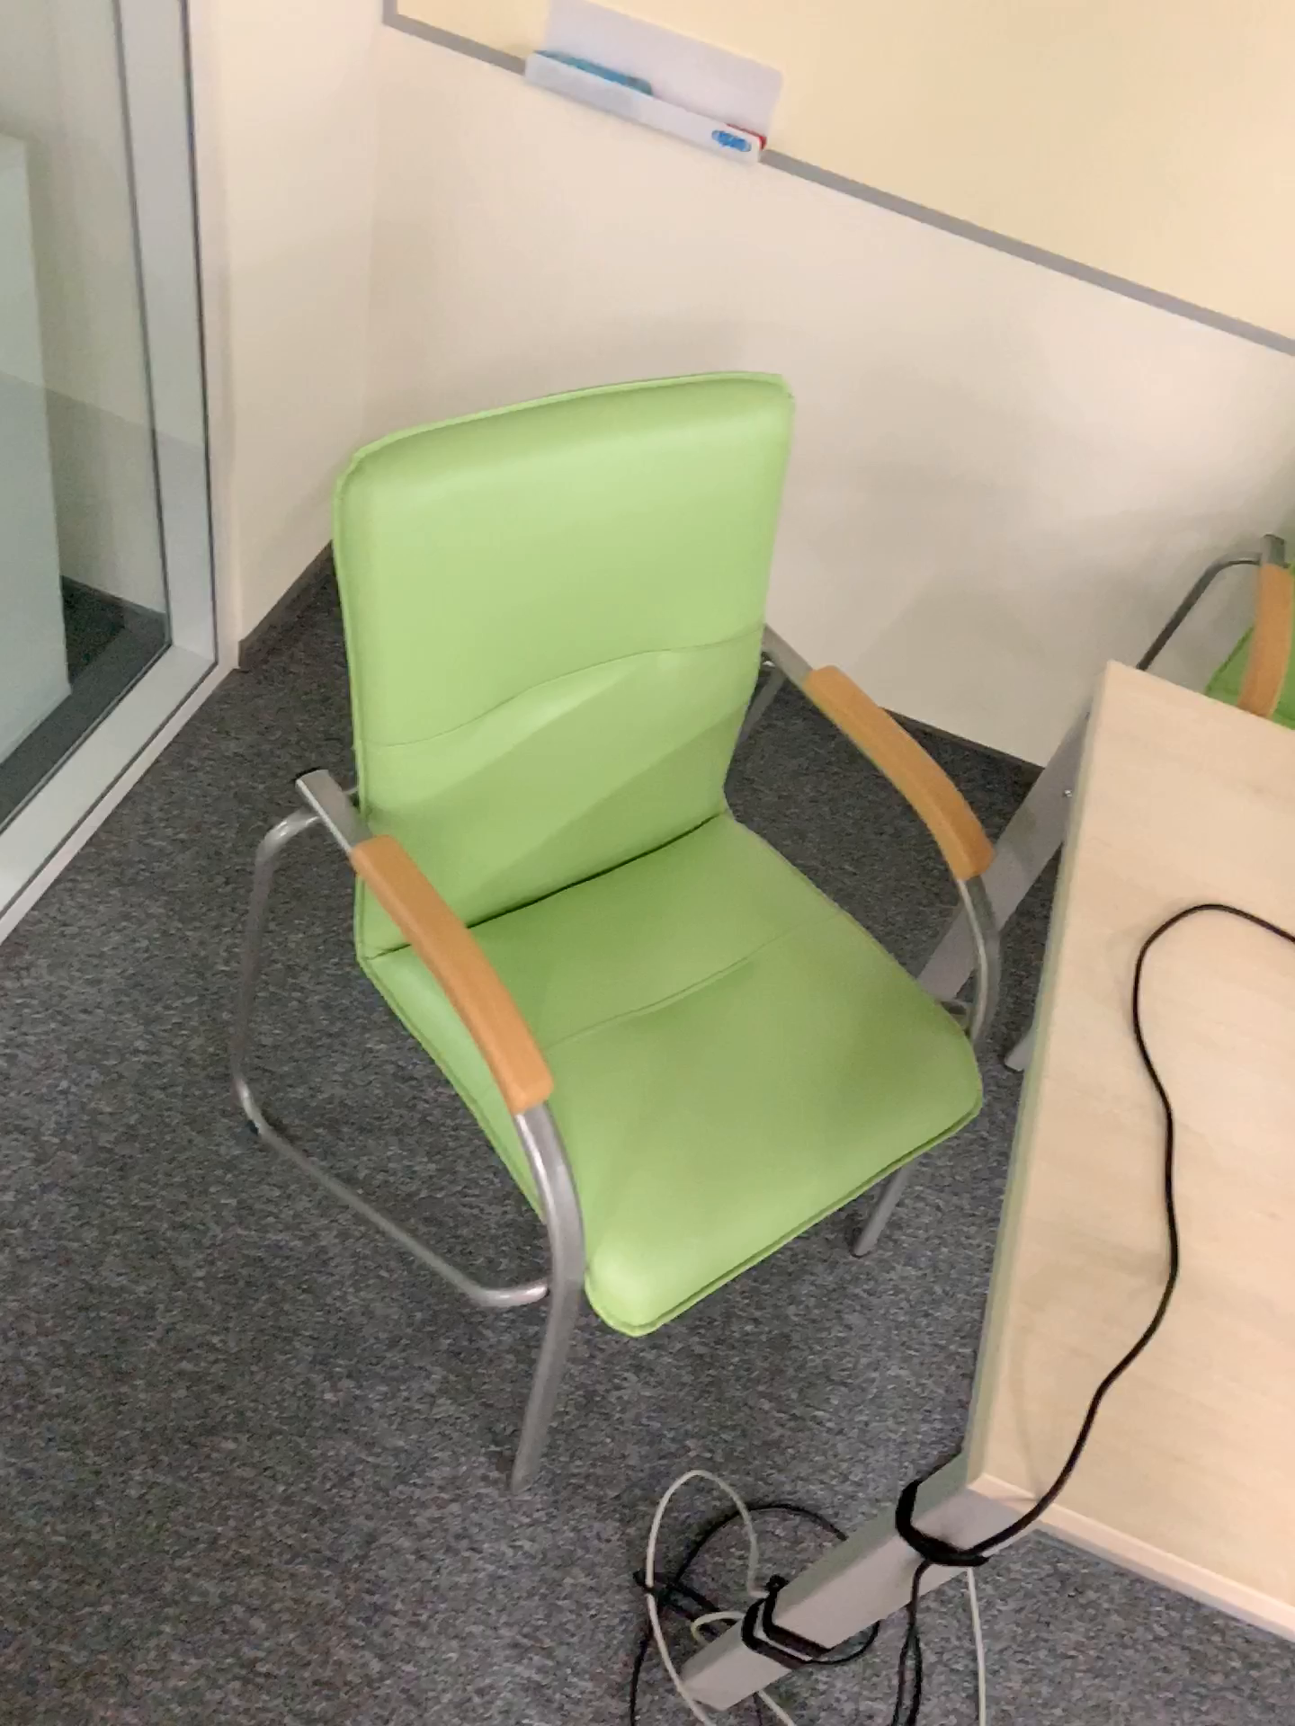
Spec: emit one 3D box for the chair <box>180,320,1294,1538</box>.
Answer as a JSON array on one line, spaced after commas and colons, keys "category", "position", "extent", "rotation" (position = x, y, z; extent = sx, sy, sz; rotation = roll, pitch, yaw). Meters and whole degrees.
[{"category": "chair", "position": [0.005, 0.076, 1.345], "extent": [0.672, 0.896, 0.651], "rotation": [-22, 60, -31]}]
